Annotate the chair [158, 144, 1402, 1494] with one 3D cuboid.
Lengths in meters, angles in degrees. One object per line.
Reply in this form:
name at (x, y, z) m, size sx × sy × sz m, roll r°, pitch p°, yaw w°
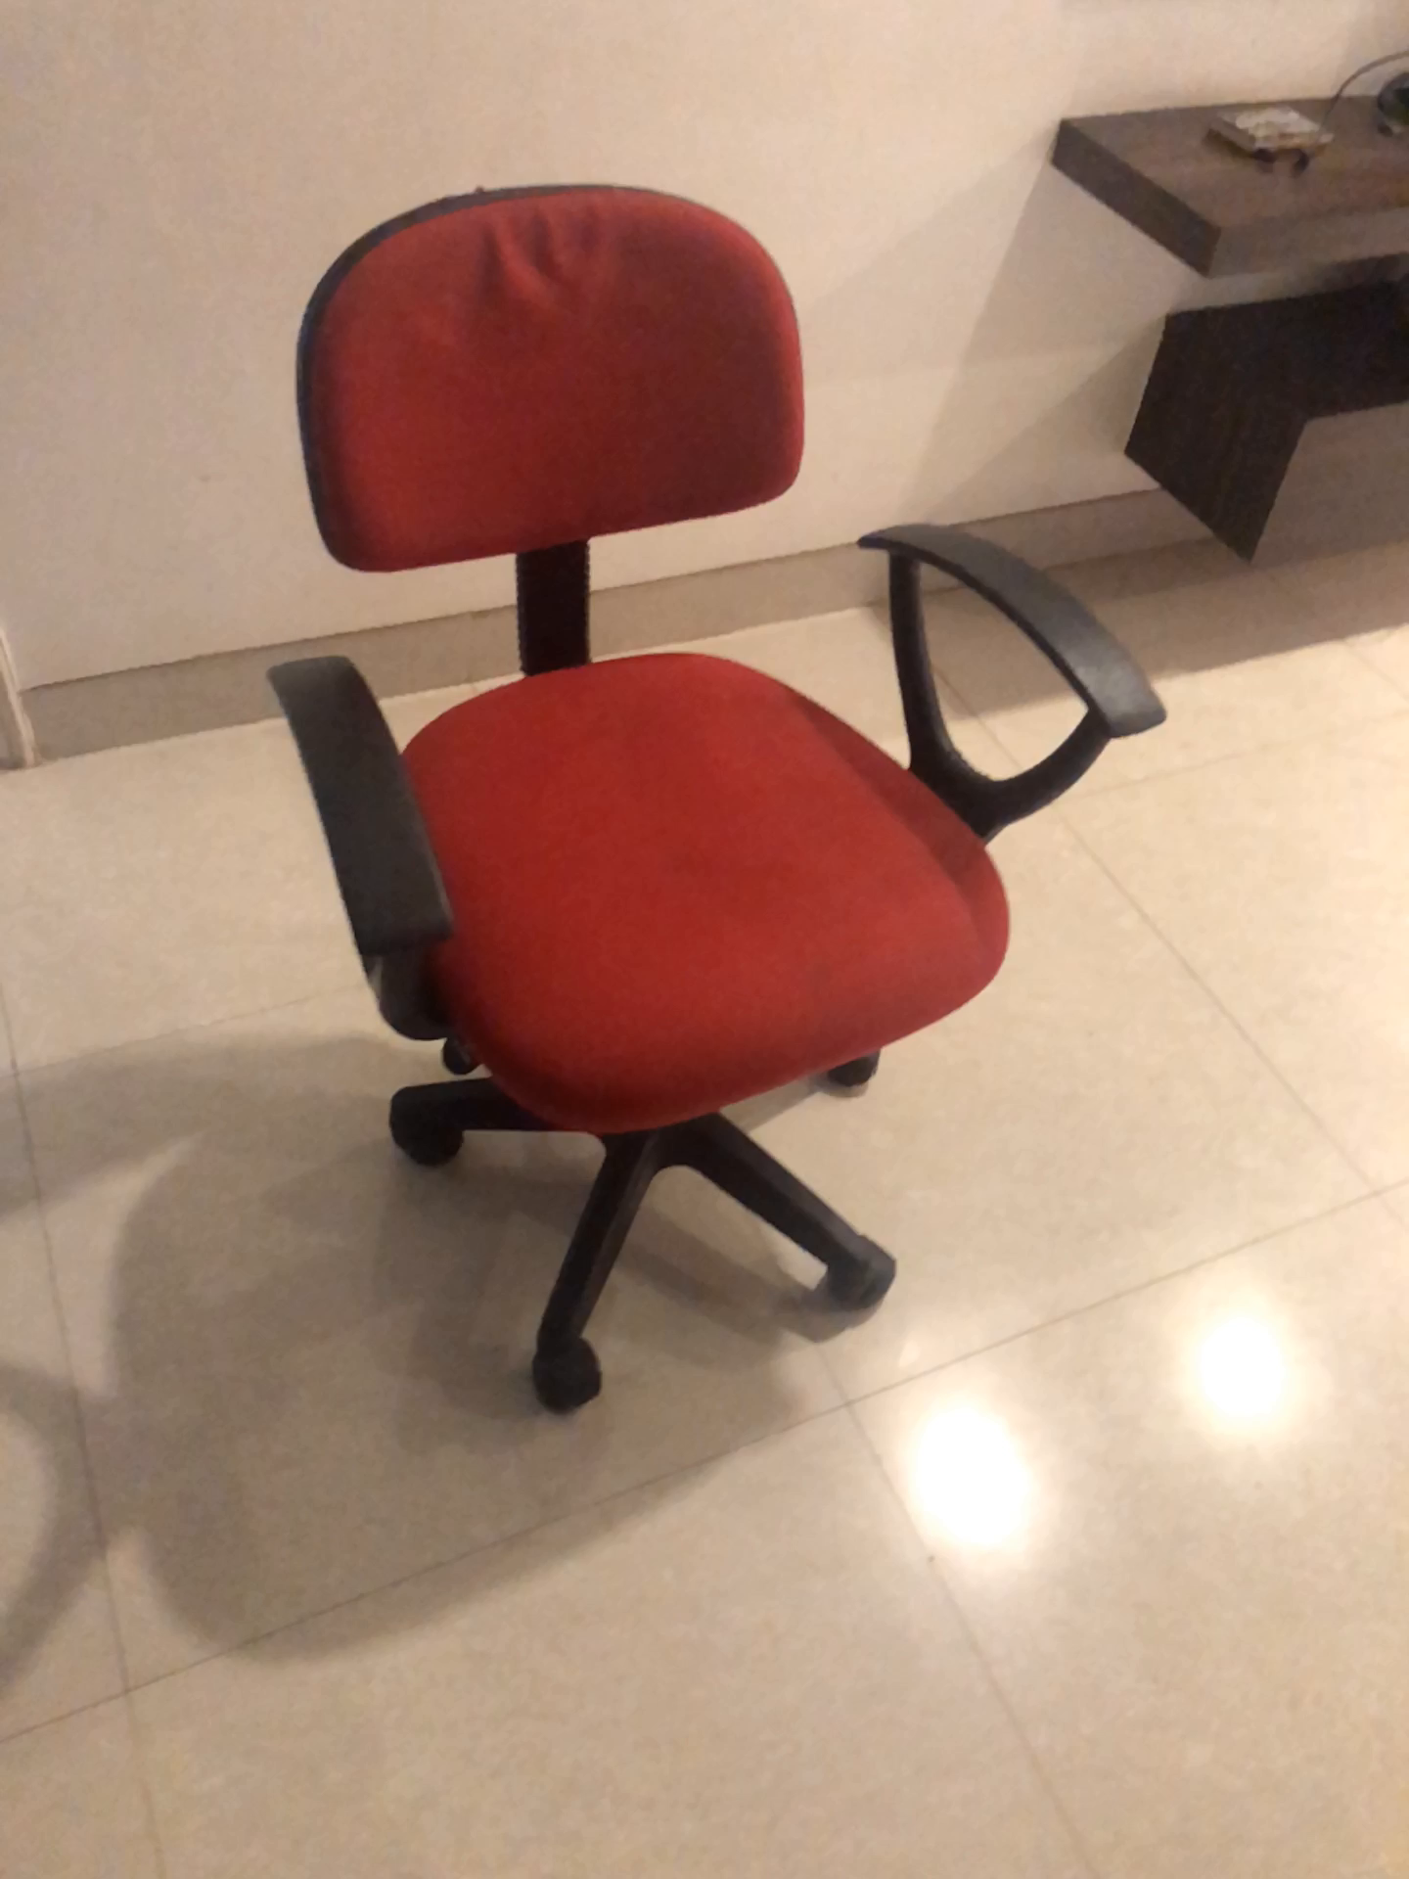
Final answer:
chair at (-0.018, -0.098, 1.198) m, size 0.541 × 0.725 × 0.603 m, roll -17°, pitch 51°, yaw -21°
